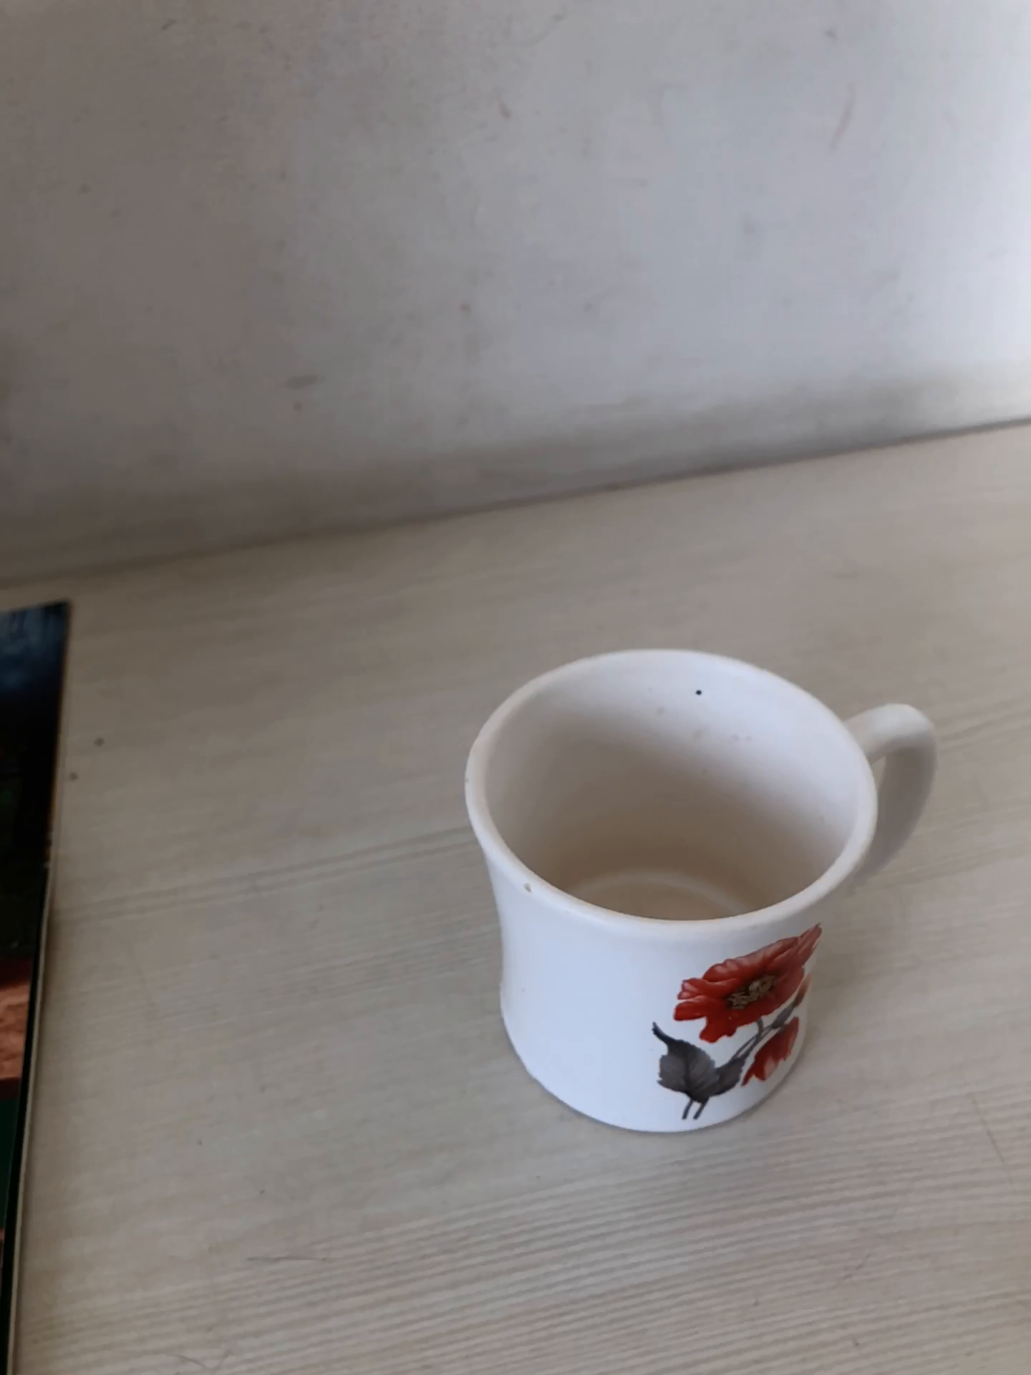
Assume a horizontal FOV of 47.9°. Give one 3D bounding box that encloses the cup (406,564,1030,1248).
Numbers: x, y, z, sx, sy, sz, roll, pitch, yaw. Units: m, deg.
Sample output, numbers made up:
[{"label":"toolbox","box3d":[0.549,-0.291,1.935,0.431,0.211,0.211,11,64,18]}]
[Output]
[{"label":"cup","box3d":[0.039,0.036,0.219,0.090,0.070,0.070,-21,41,-21]}]
